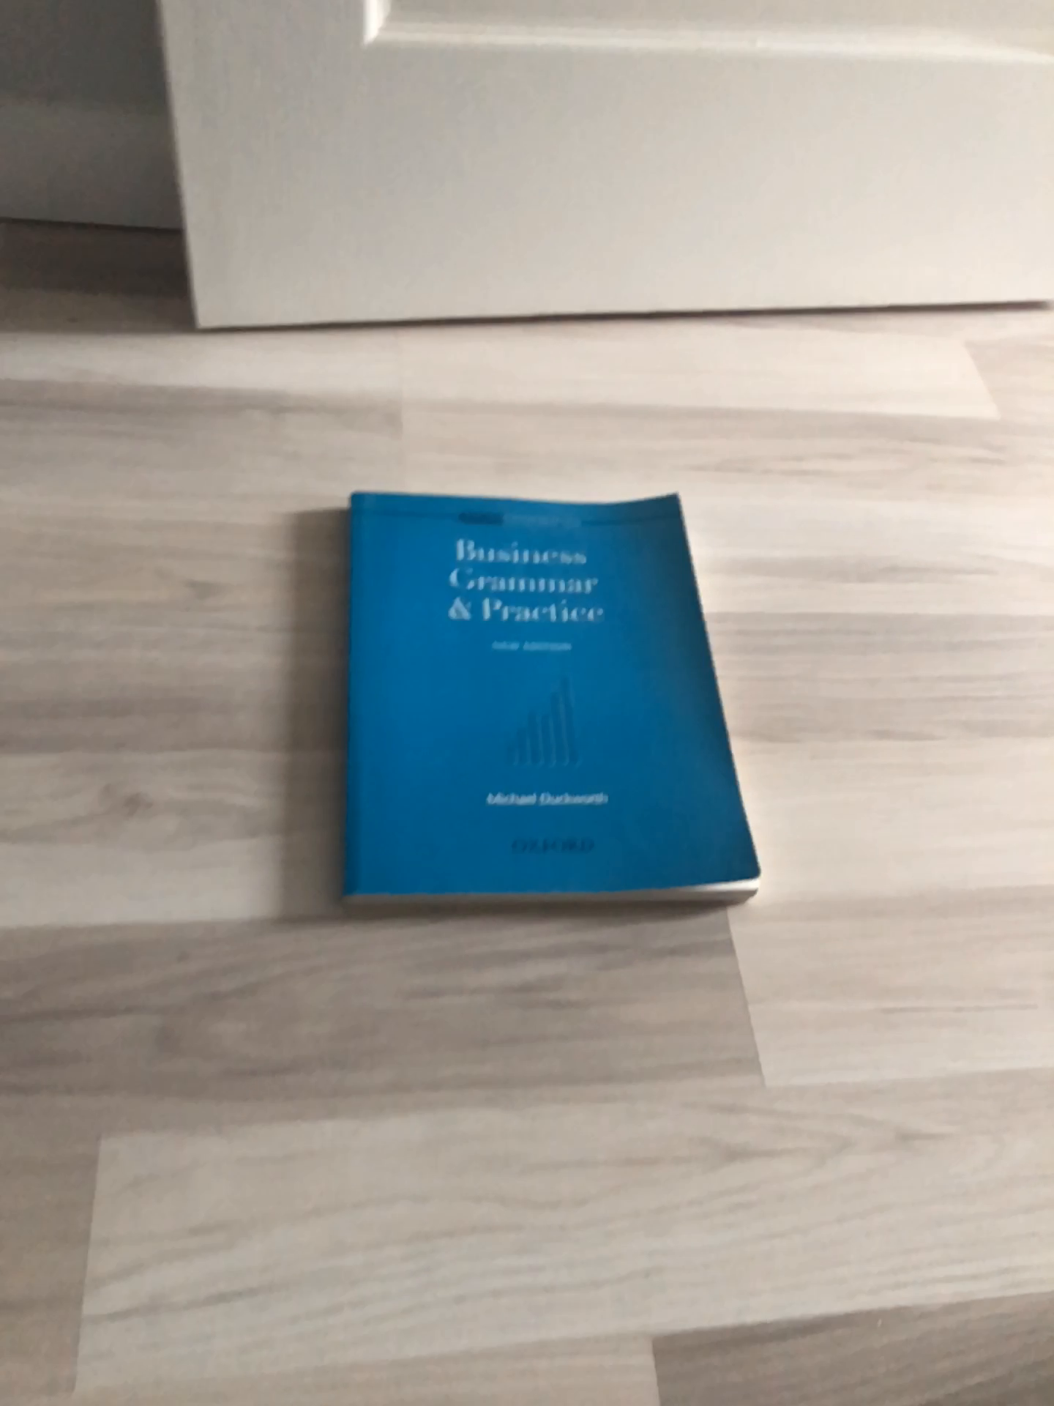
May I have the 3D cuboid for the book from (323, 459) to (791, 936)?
[{"bbox_3d":[0.004,-0.016,0.671,0.230,0.040,0.301,1,54,-9],"label":"book"}]
